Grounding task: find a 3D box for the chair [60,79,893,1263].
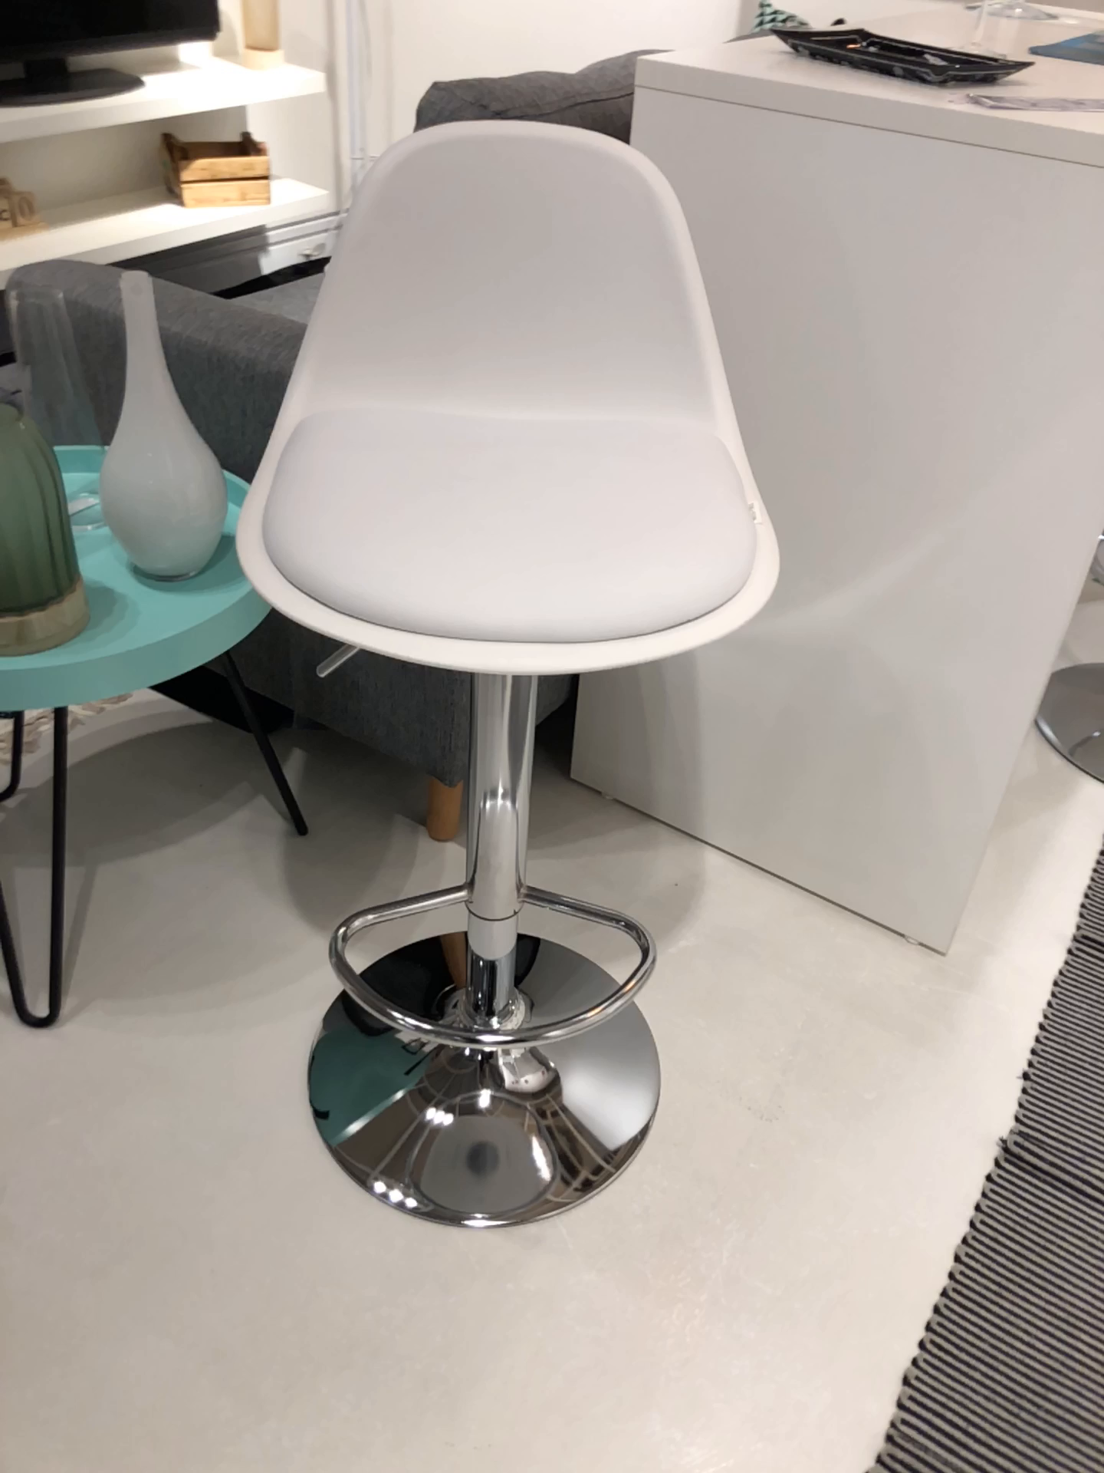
[{"bbox_3d":[-0.051,-0.010,1.027,0.410,0.883,0.423,5,37,1],"label":"chair"}]
